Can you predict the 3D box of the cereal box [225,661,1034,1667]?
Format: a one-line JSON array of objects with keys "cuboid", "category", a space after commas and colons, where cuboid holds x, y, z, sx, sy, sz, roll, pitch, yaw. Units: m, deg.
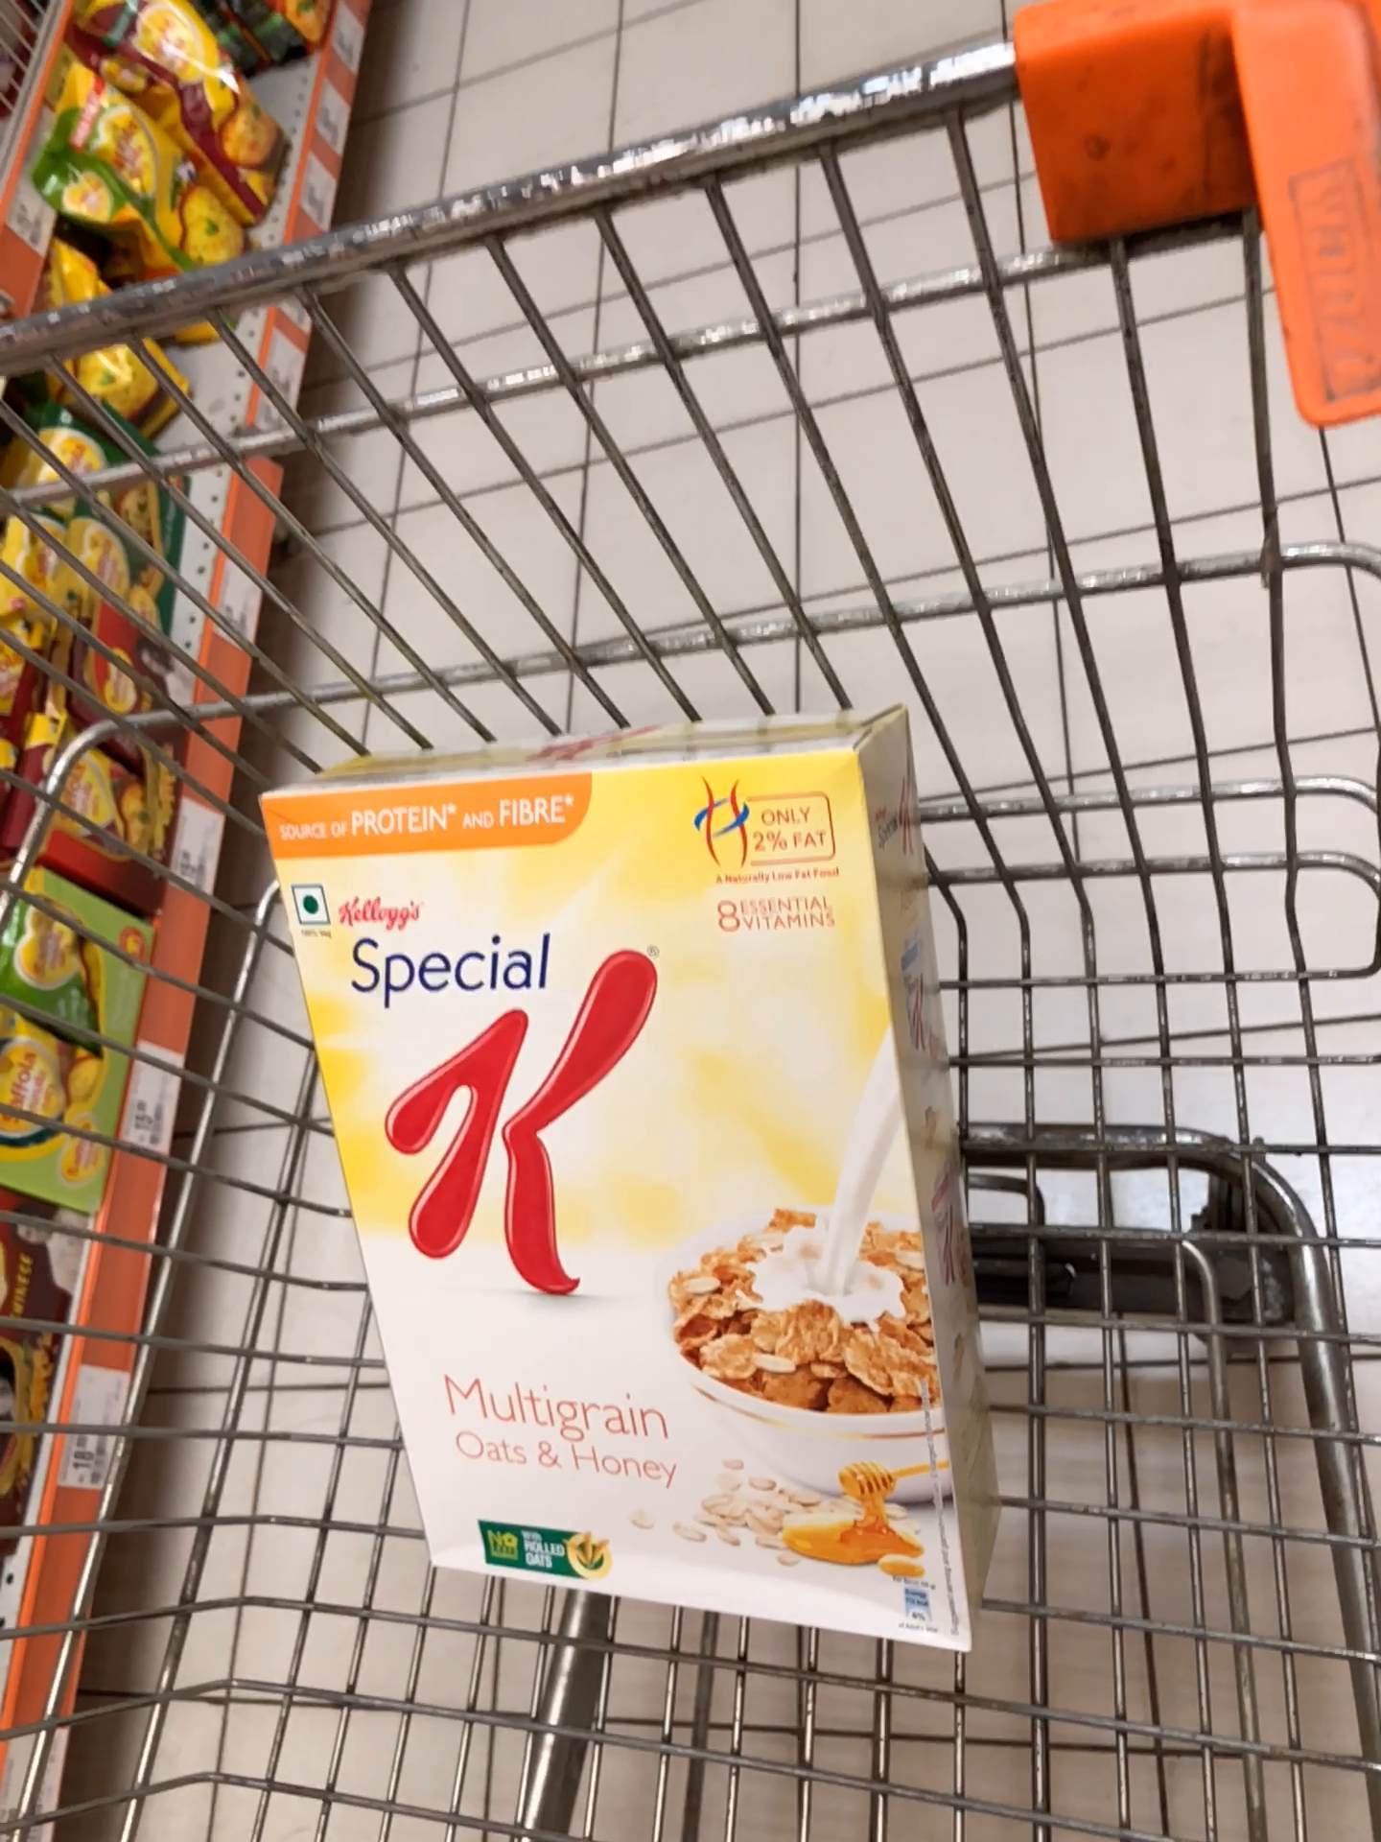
[{"cuboid": [-0.009, 0.070, 0.472, 0.190, 0.090, 0.269, -2, 107, 23], "category": "cereal box"}]
